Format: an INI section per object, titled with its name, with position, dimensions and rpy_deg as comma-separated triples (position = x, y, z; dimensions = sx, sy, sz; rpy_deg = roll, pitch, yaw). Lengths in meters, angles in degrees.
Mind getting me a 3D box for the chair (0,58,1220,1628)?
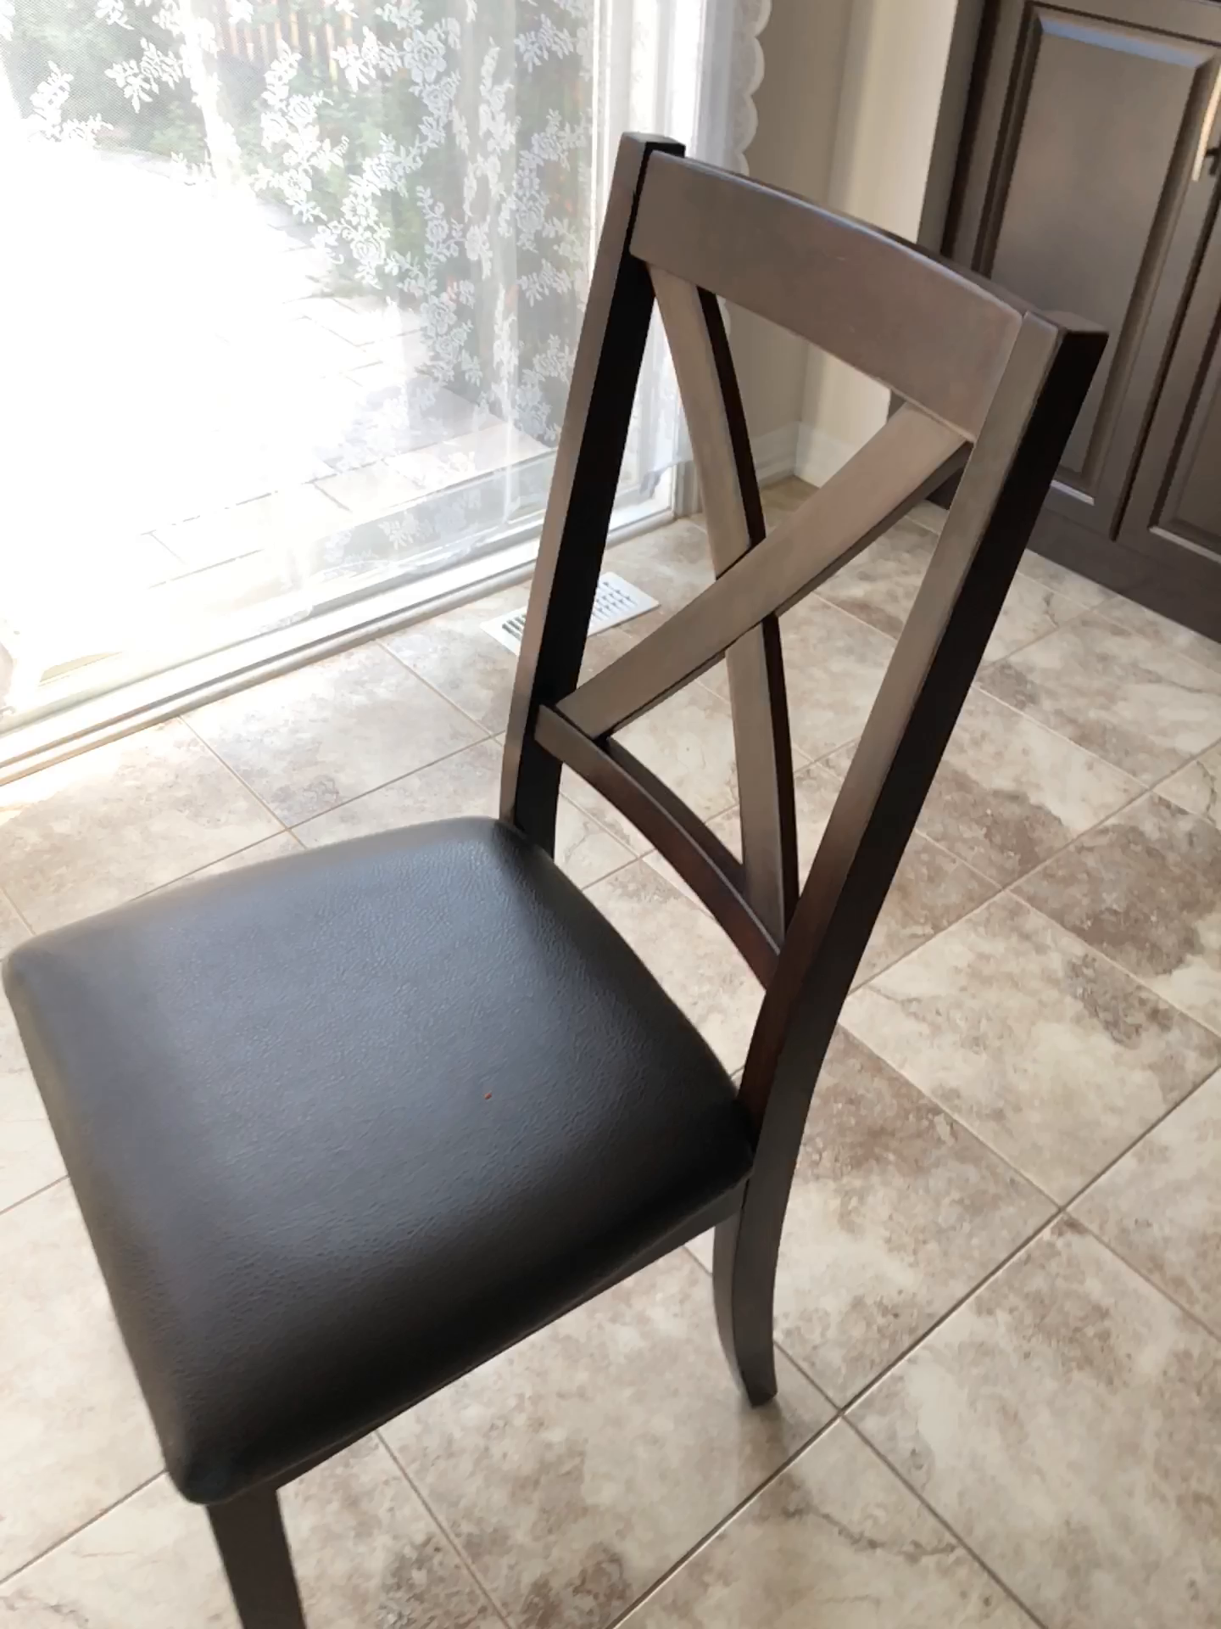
[chair]
position = -0.094, 0.093, 0.904
dimensions = 0.600, 0.936, 0.481
rpy_deg = -20, 45, -24
